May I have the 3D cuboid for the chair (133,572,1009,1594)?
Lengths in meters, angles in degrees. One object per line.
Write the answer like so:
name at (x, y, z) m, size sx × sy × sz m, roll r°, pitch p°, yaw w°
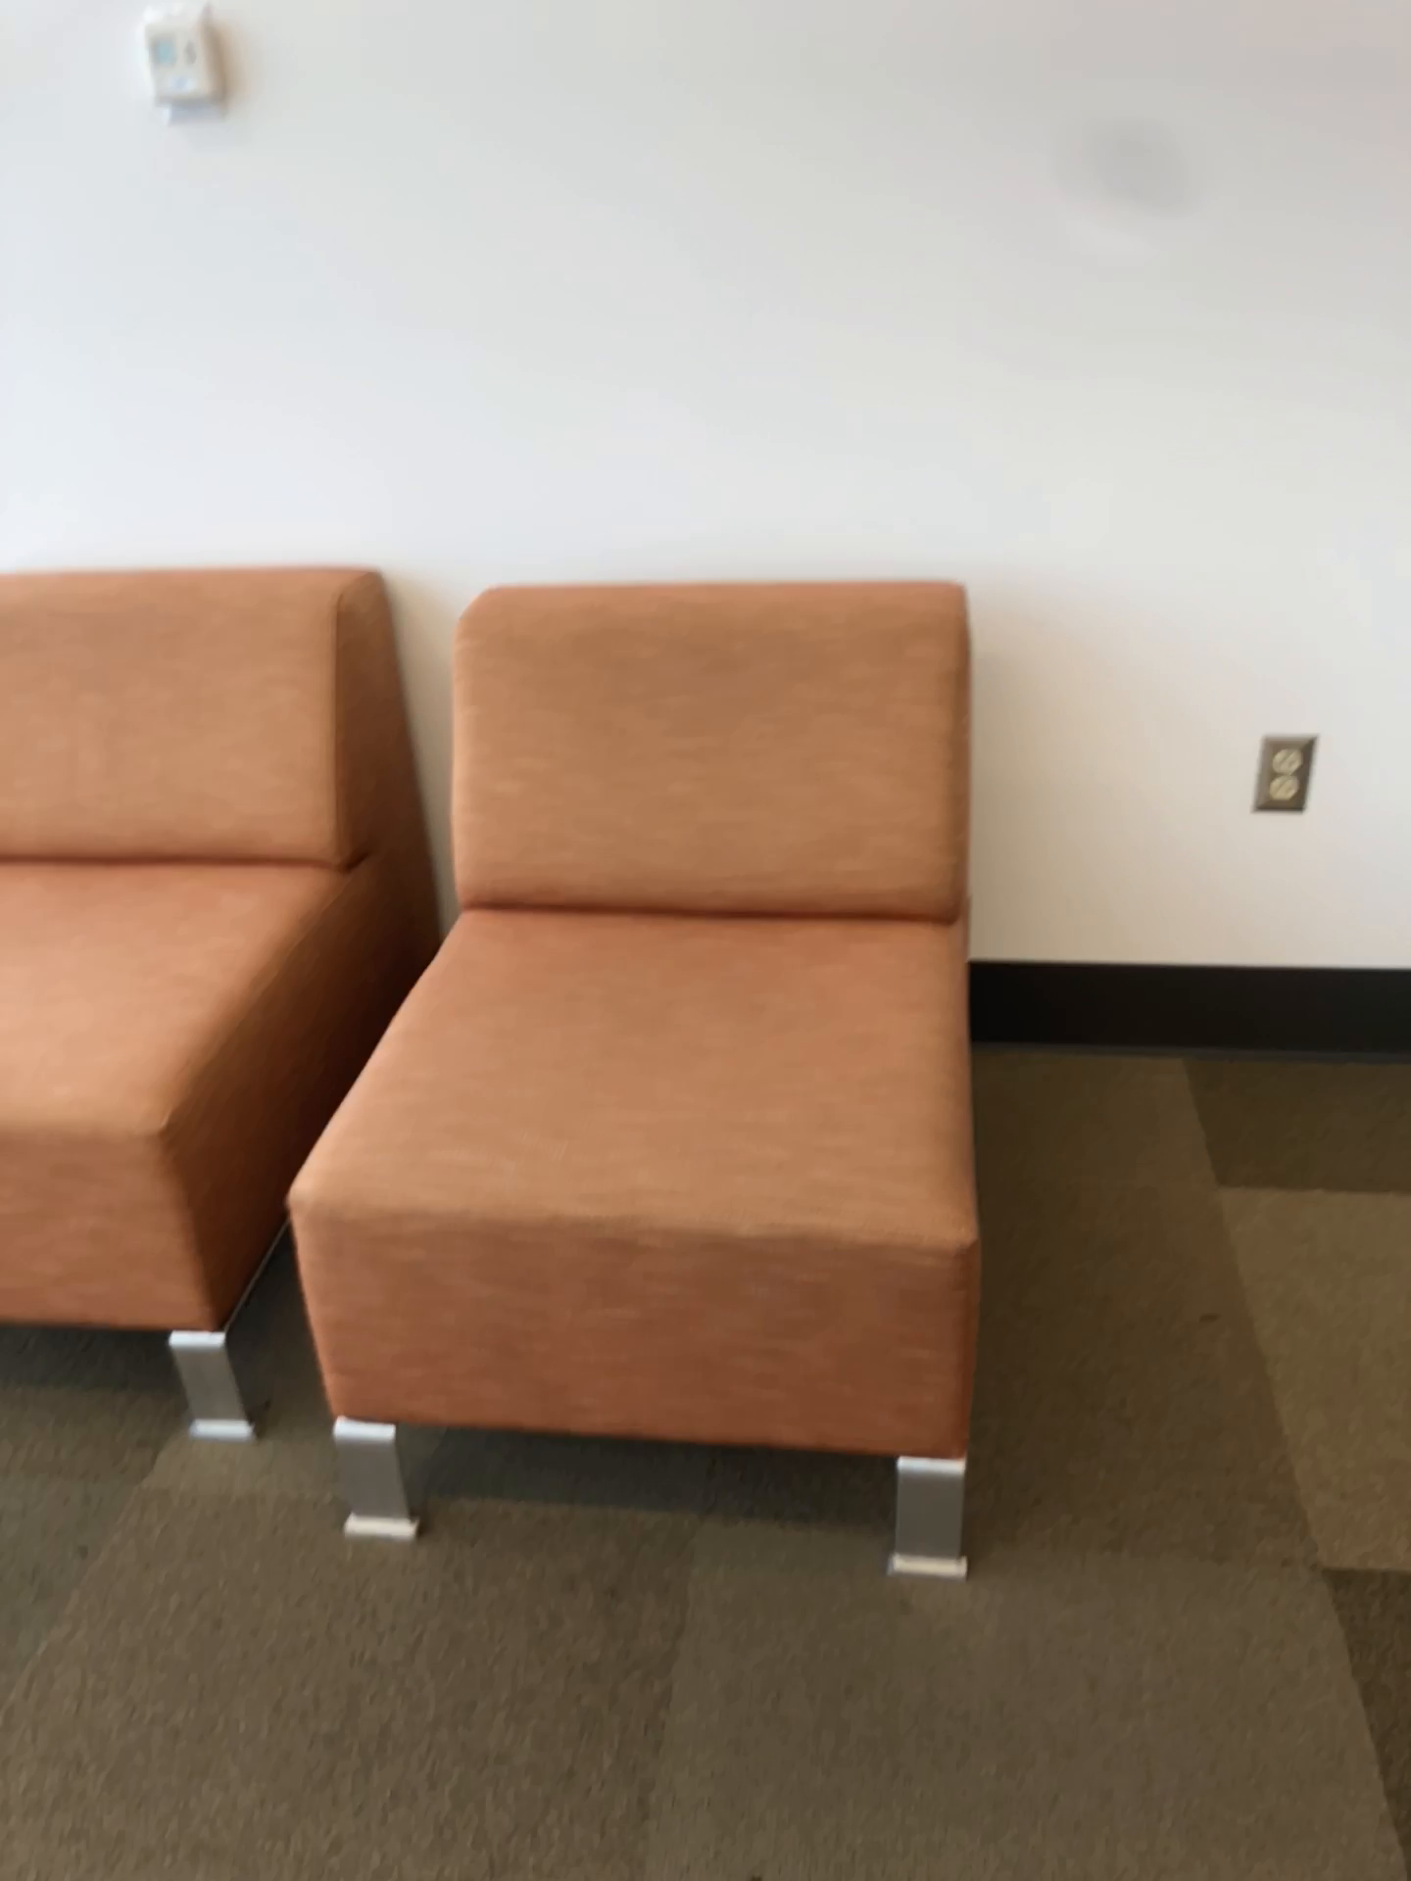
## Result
chair at (-0.036, 0.072, 1.772) m, size 0.694 × 0.759 × 0.927 m, roll 1°, pitch 27°, yaw 8°

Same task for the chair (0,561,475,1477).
chair at (-0.836, 0.026, 2.018) m, size 0.764 × 0.809 × 0.937 m, roll 1°, pitch 26°, yaw 7°
